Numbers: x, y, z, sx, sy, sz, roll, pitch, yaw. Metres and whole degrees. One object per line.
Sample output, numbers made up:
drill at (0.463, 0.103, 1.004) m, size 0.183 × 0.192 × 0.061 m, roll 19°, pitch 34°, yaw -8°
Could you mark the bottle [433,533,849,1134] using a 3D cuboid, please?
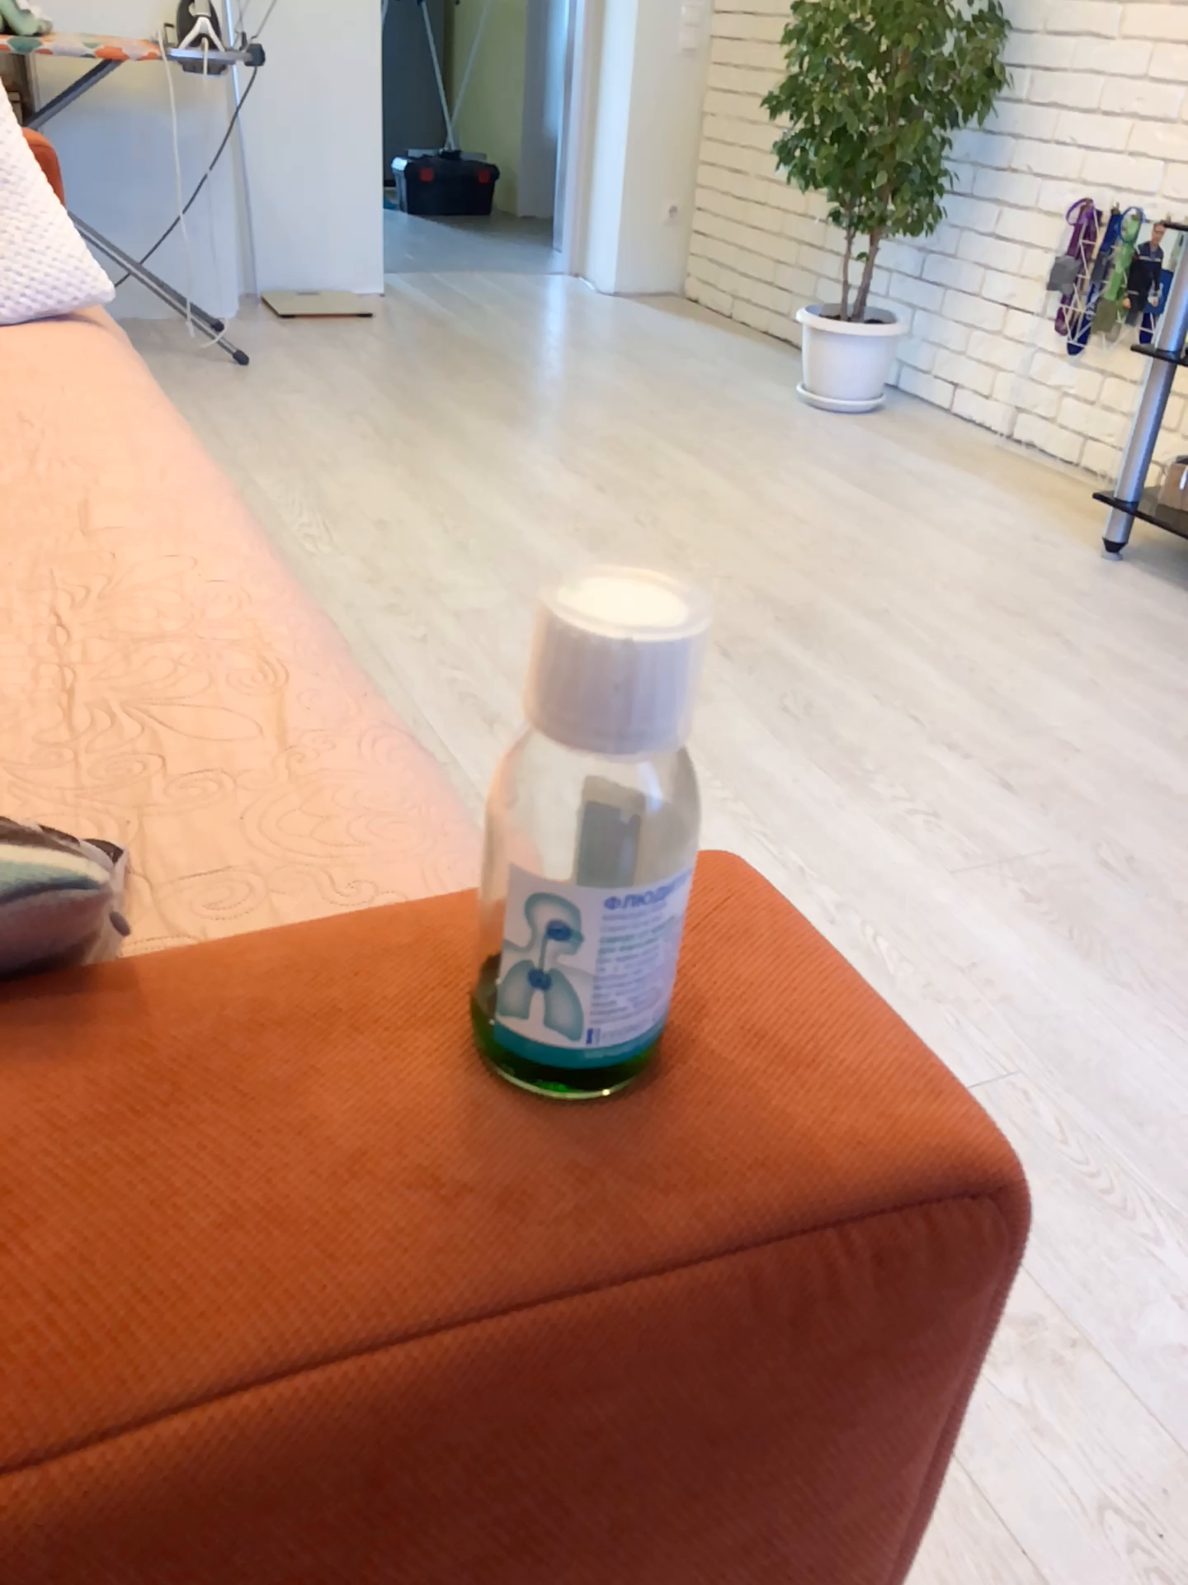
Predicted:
bottle at (0.005, 0.007, 0.286) m, size 0.060 × 0.106 × 0.060 m, roll 4°, pitch 30°, yaw -2°
